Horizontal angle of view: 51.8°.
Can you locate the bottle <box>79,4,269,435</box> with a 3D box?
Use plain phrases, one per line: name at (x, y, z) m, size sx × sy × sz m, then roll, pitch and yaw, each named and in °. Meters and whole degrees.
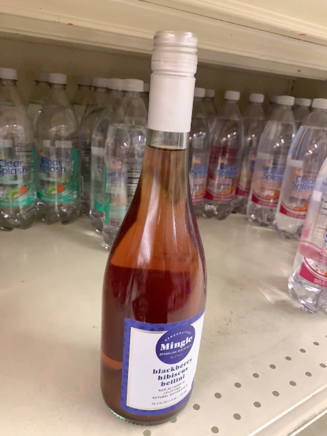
bottle at (-0.011, 0.021, 0.262) m, size 0.090 × 0.298 × 0.080 m, roll -5°, pitch 24°, yaw -27°
